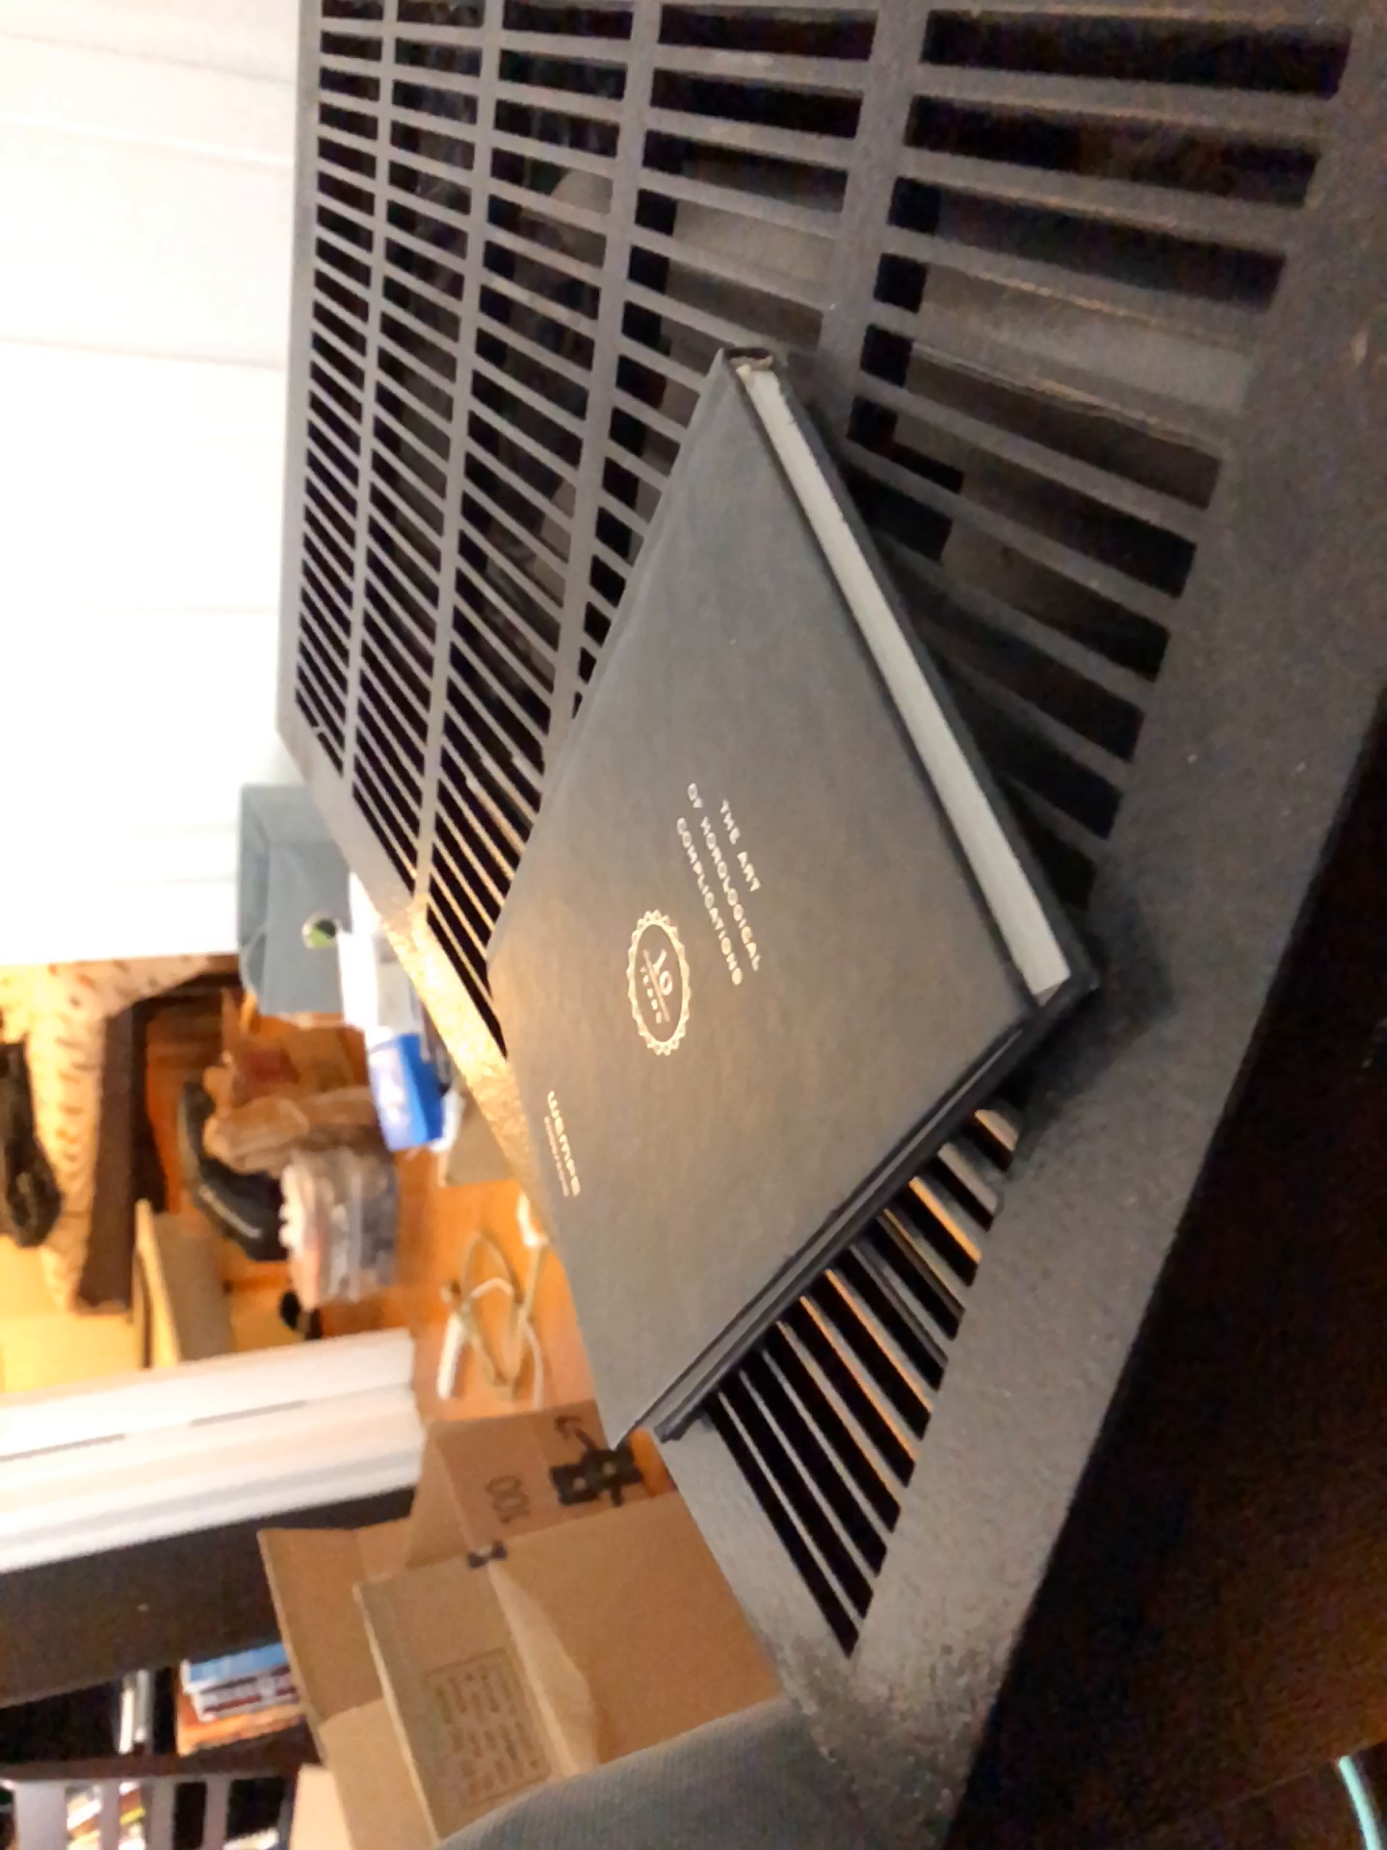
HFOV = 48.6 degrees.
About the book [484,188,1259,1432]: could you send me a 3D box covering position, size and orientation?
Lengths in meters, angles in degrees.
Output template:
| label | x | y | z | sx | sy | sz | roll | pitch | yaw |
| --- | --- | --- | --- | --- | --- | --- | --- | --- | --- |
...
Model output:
| label | x | y | z | sx | sy | sz | roll | pitch | yaw |
| --- | --- | --- | --- | --- | --- | --- | --- | --- | --- |
| book | 0.008 | -0.005 | 0.353 | 0.251 | 0.020 | 0.160 | -60 | 41 | 48 |
